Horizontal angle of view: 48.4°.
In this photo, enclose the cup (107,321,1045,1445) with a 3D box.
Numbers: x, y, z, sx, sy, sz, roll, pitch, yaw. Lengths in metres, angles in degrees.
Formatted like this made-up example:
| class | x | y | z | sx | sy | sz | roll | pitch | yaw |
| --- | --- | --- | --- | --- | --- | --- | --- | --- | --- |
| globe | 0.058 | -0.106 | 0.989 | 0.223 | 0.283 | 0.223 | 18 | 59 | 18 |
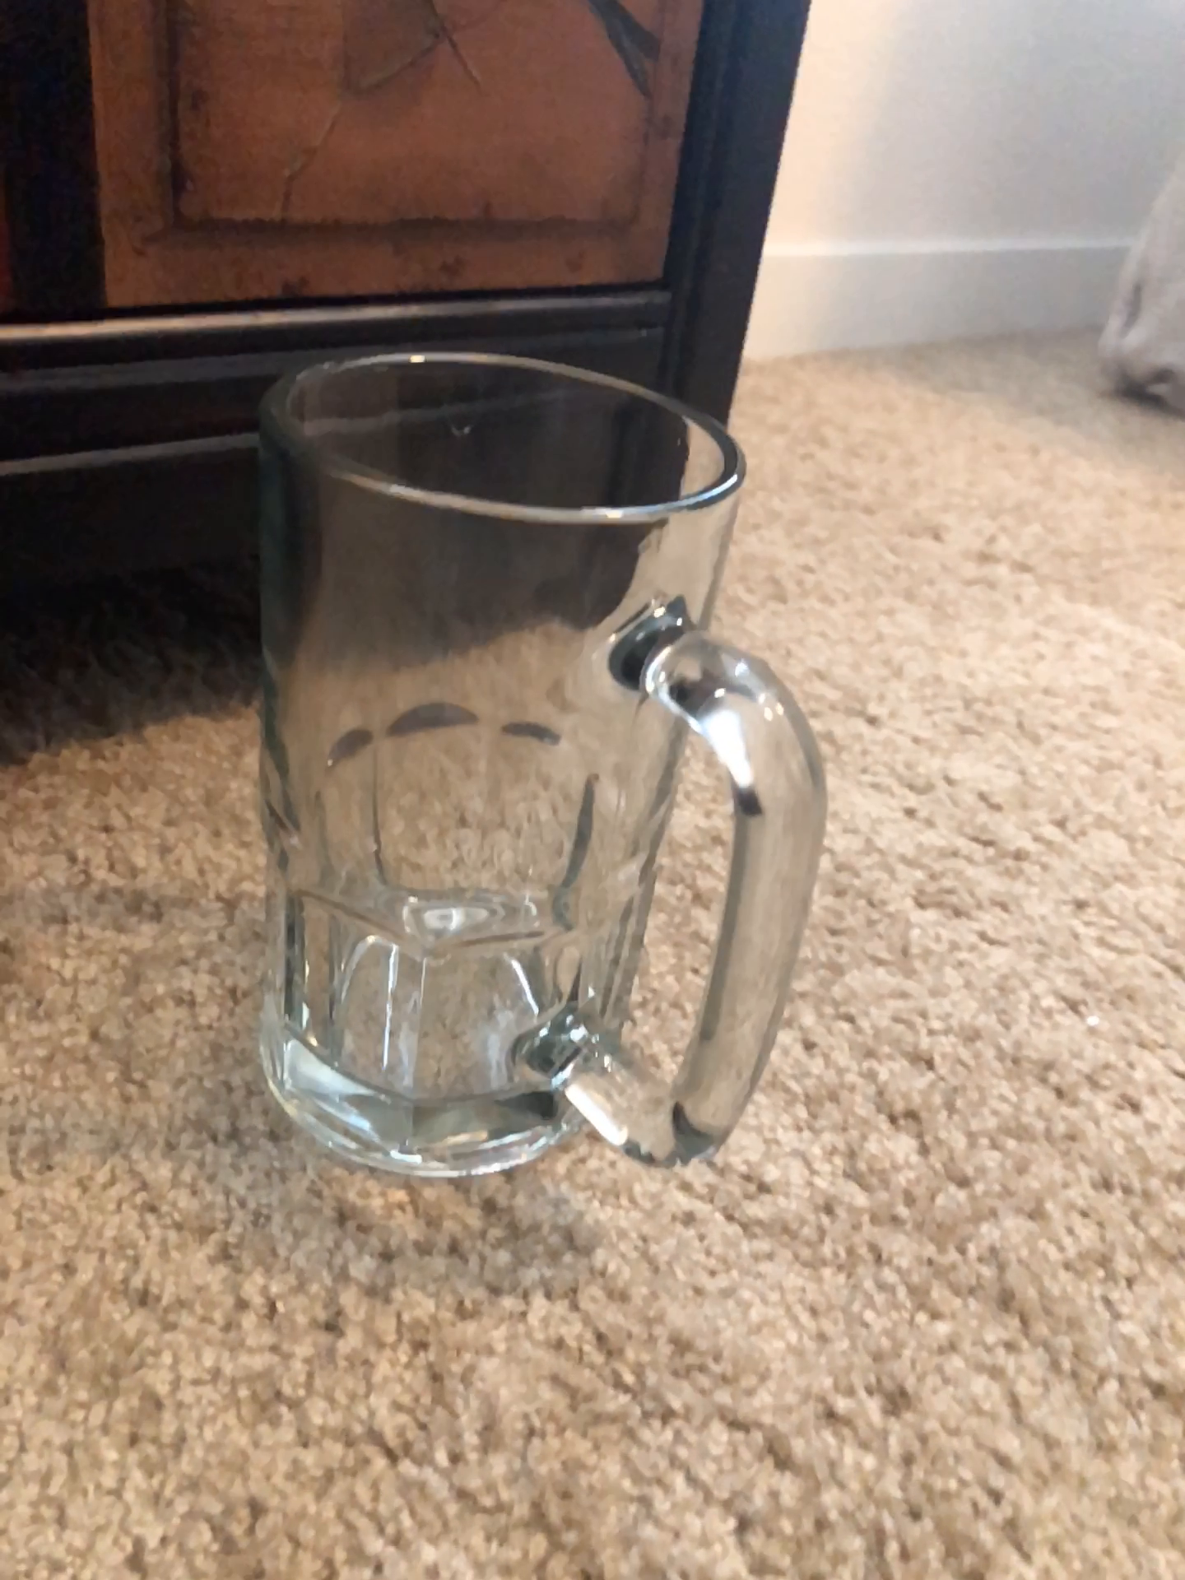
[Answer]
| class | x | y | z | sx | sy | sz | roll | pitch | yaw |
| --- | --- | --- | --- | --- | --- | --- | --- | --- | --- |
| cup | -0.017 | 0.004 | 0.261 | 0.097 | 0.156 | 0.134 | -18 | 39 | -40 |
